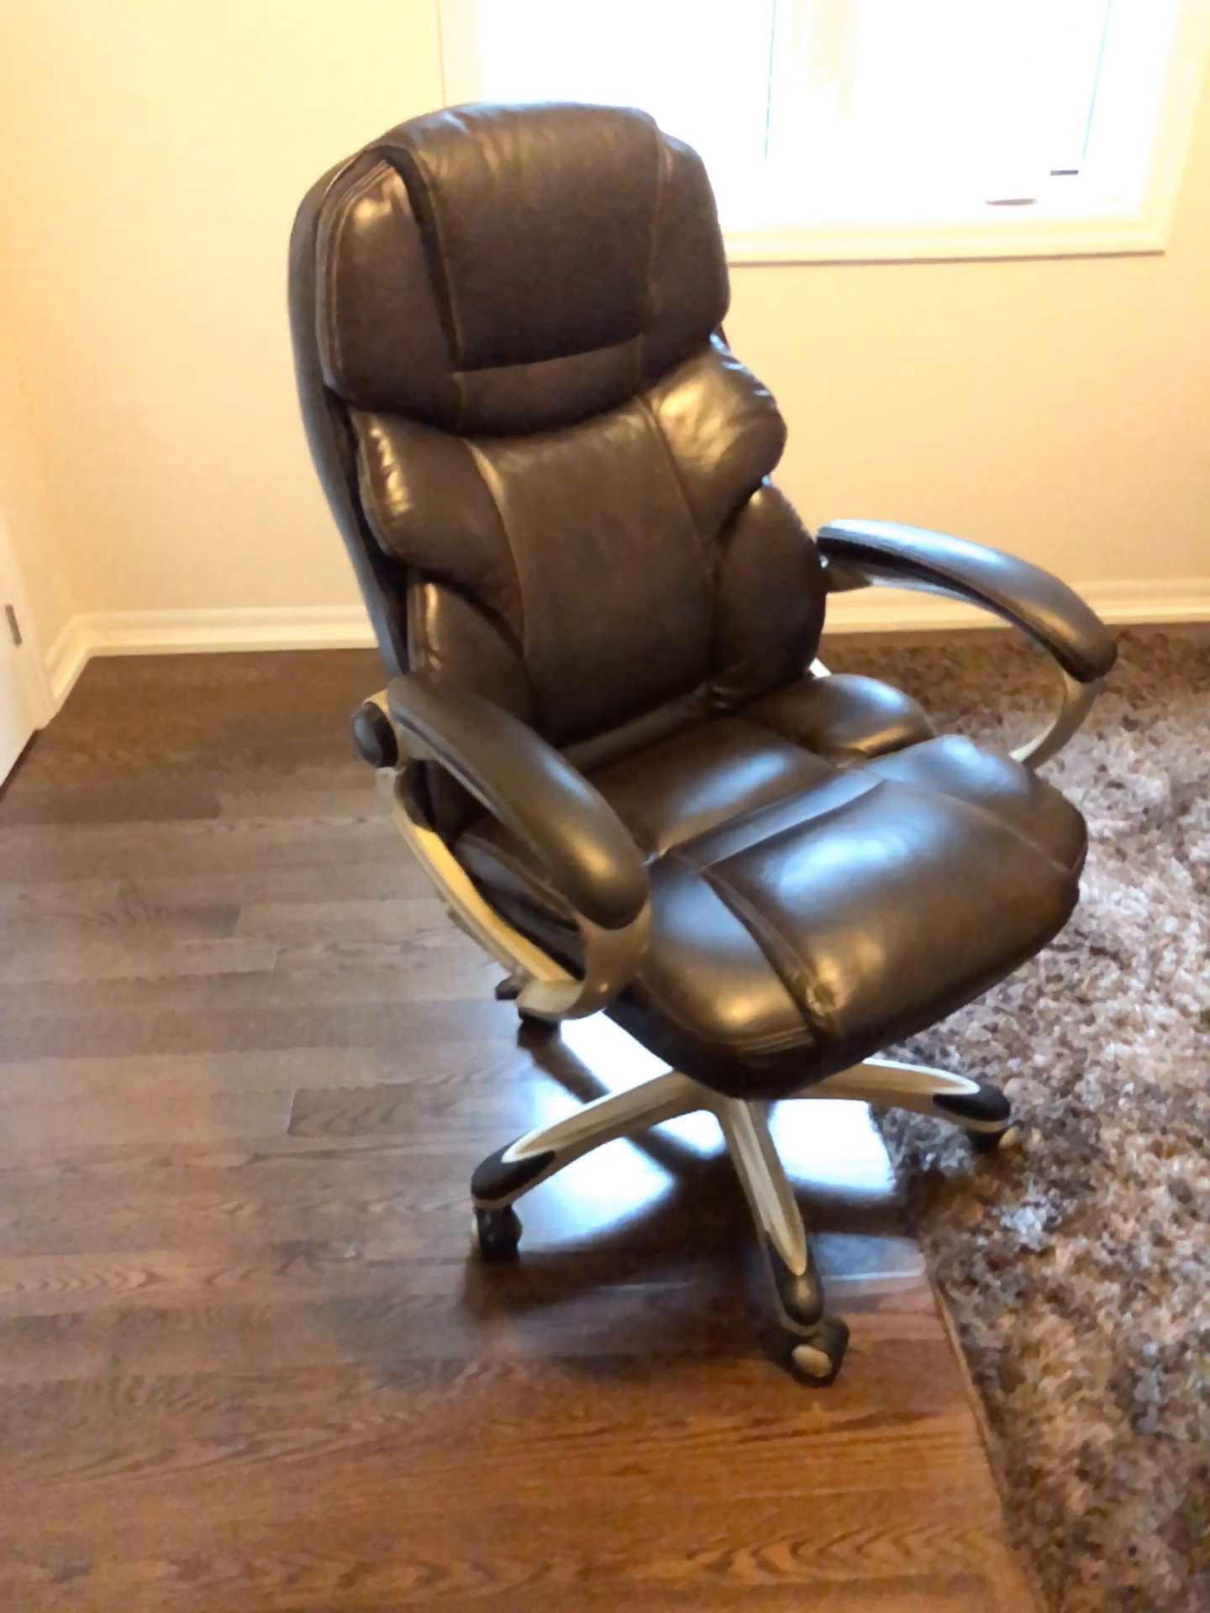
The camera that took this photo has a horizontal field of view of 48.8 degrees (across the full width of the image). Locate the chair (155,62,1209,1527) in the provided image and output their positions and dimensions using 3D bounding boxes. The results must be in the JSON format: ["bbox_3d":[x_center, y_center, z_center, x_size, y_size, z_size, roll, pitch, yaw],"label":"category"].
[{"bbox_3d":[0.129,-0.078,1.379,0.731,1.135,0.742,-22,39,-29],"label":"chair"}]
